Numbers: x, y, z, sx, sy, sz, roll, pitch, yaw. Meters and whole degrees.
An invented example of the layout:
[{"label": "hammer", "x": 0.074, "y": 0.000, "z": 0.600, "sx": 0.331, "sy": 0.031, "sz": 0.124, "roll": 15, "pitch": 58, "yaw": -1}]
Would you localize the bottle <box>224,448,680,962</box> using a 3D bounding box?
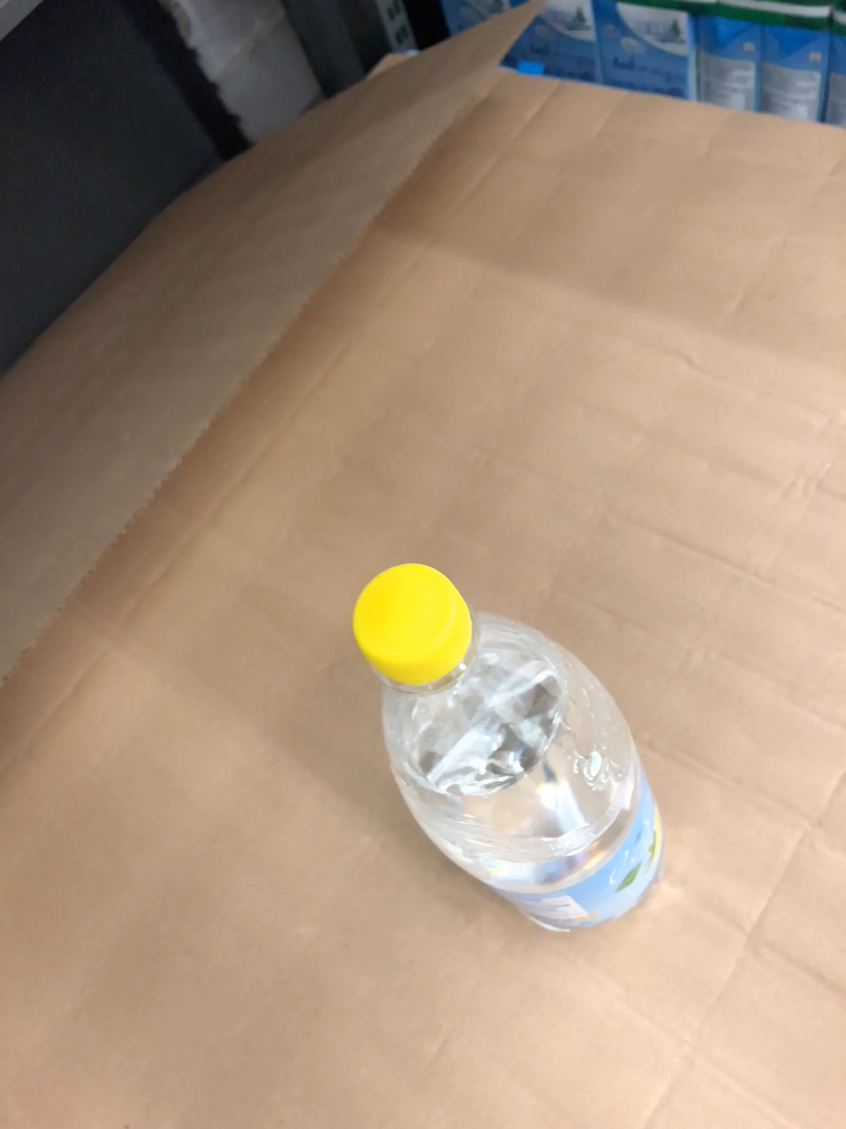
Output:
[{"label": "bottle", "x": 0.041, "y": 0.076, "z": 0.347, "sx": 0.080, "sy": 0.289, "sz": 0.090, "roll": 4, "pitch": 64, "yaw": 20}]
